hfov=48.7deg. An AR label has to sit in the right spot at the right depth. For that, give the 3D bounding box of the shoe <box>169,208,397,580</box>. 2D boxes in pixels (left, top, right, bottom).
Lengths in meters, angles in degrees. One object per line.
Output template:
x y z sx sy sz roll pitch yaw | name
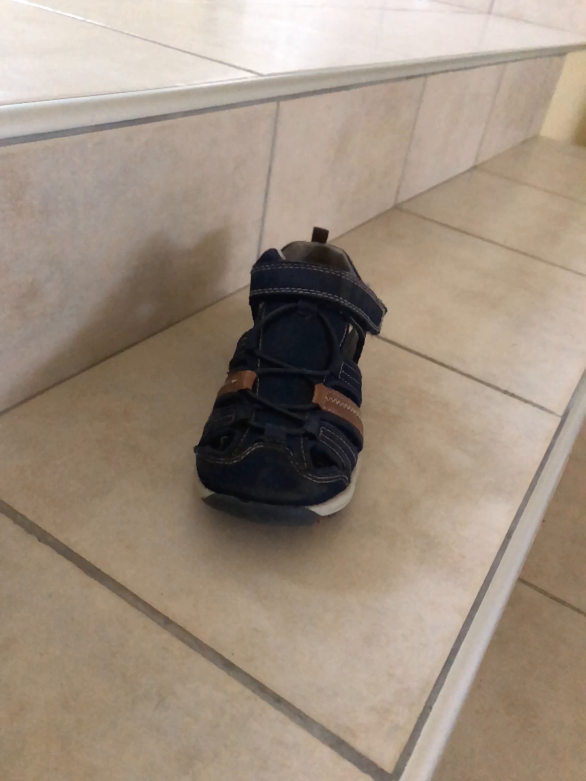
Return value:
0.000 -0.016 0.385 0.090 0.099 0.221 10 34 -1 | shoe
